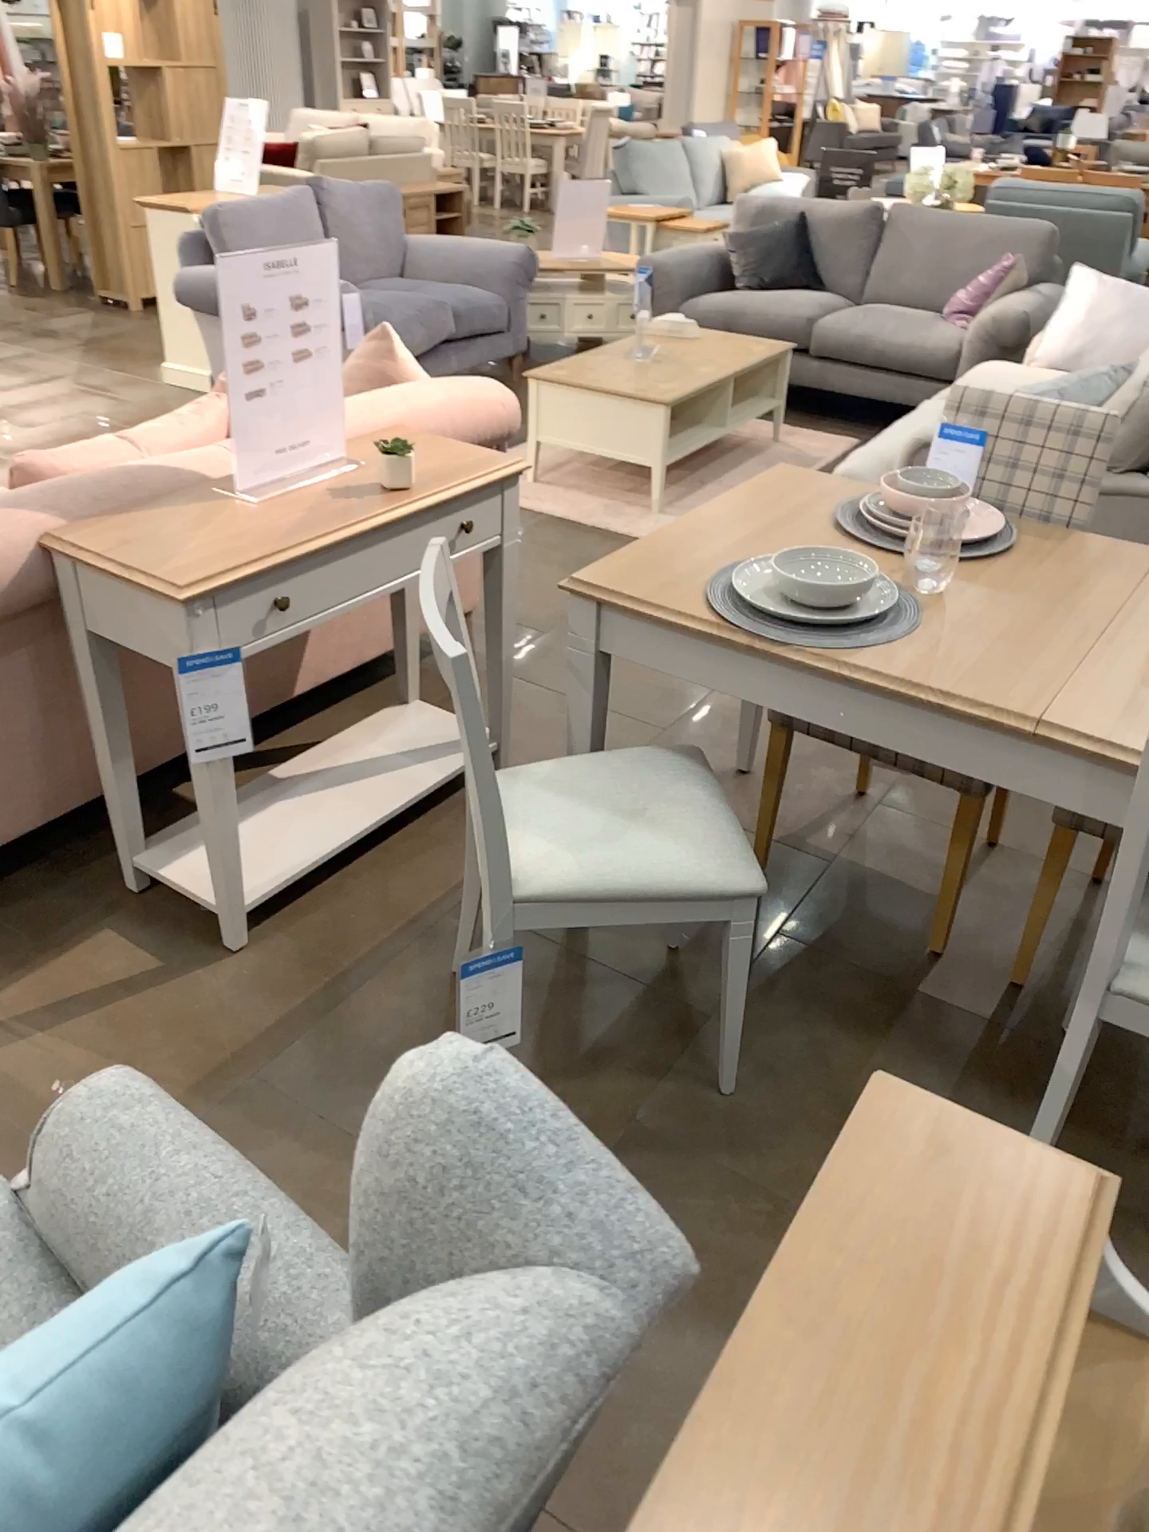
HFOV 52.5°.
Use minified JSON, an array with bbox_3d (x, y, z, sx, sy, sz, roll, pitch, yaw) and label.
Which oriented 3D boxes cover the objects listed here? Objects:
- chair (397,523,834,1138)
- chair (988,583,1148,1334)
[{"bbox_3d":[0.014,0.094,1.850,0.534,0.817,0.465,-3,31,-10],"label":"chair"},{"bbox_3d":[0.977,0.253,1.690,0.431,0.817,0.538,19,35,26],"label":"chair"}]
